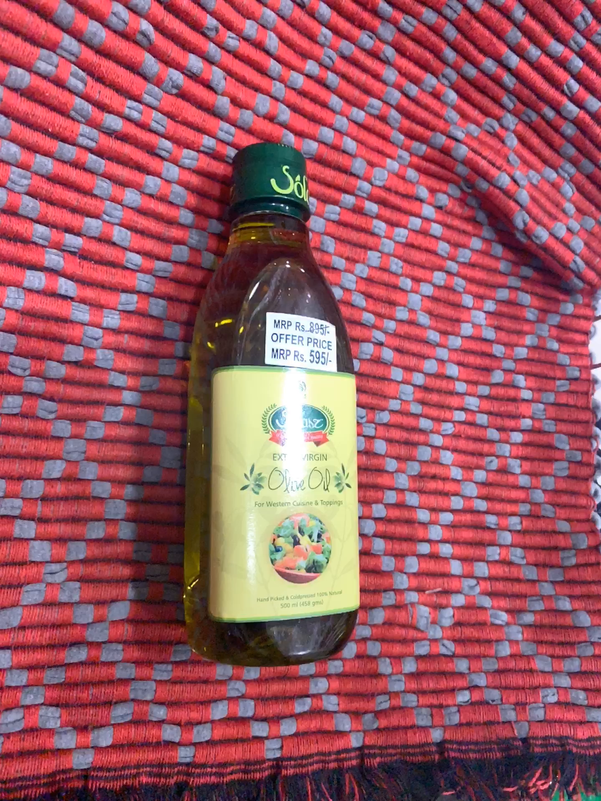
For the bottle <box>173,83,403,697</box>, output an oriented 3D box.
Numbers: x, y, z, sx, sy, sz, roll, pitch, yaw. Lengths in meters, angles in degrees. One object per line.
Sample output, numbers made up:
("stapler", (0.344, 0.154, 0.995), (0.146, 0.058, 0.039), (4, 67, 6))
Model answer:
("bottle", (-0.010, -0.005, 0.243), (0.060, 0.070, 0.200), (4, 79, -24))
